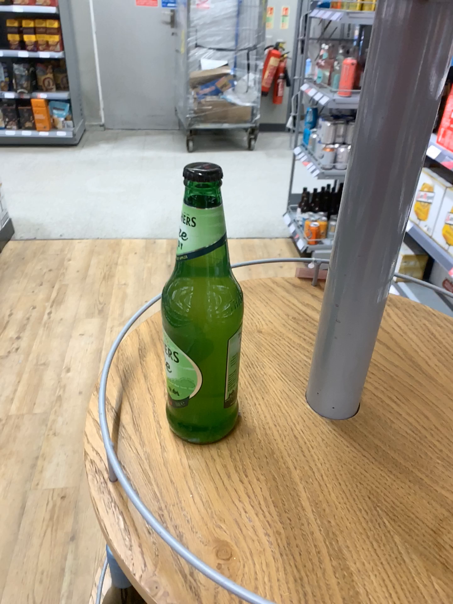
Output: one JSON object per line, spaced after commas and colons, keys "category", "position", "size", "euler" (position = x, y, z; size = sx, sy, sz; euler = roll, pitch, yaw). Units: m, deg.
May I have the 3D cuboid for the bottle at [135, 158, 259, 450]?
{"category": "bottle", "position": [-0.021, 0.013, 0.390], "size": [0.078, 0.240, 0.070], "euler": [4, 33, 3]}
